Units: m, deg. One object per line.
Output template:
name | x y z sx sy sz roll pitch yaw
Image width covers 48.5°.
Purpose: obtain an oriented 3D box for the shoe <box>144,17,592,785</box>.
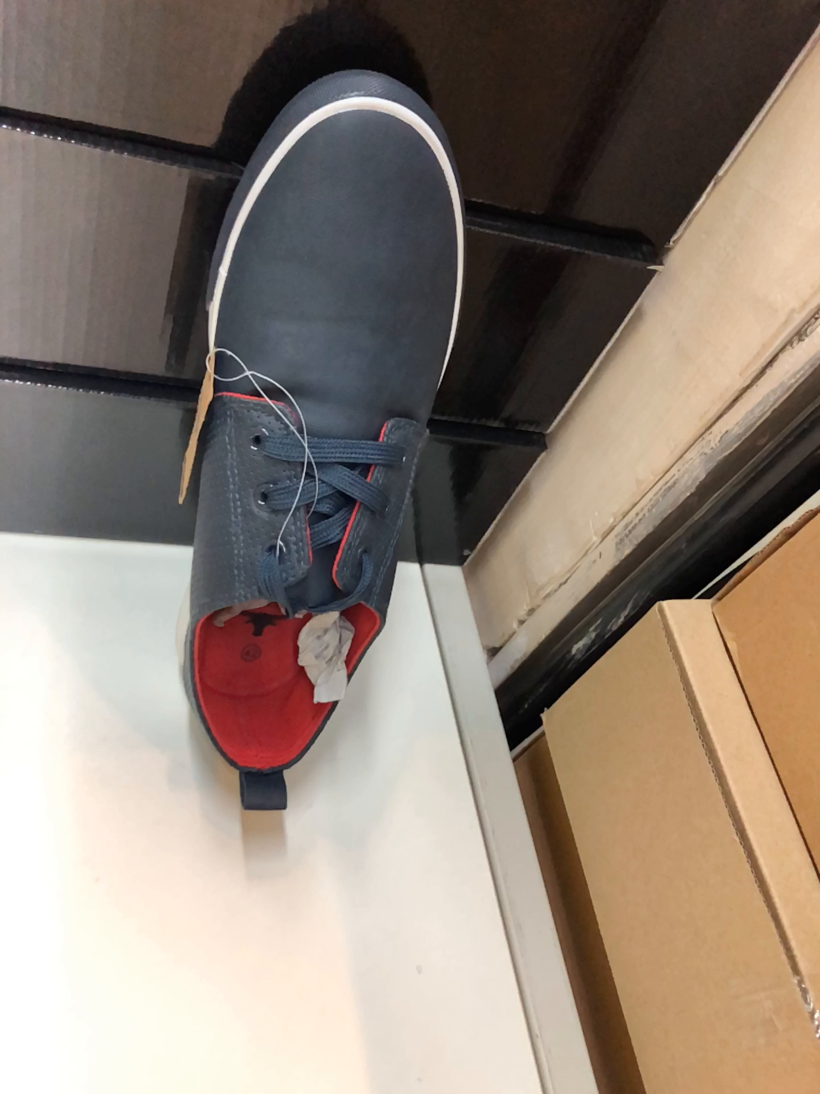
shoe | -0.036 -0.044 0.359 0.103 0.268 0.101 6 28 -16
